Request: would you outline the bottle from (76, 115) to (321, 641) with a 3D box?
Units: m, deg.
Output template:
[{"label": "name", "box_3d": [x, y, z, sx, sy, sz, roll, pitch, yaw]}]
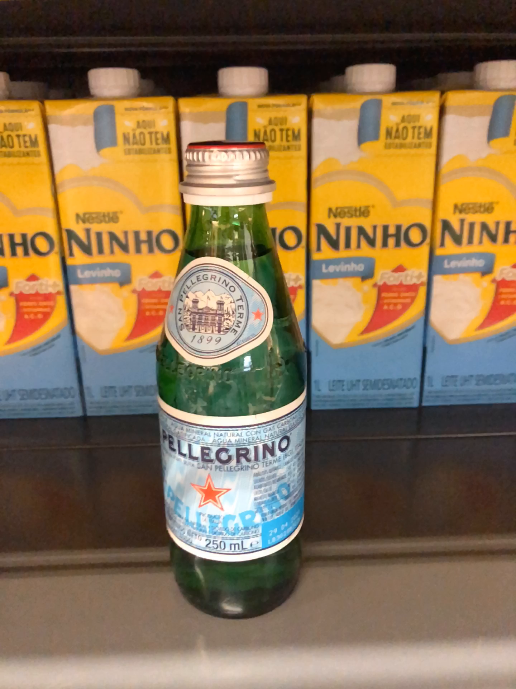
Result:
[{"label": "bottle", "box_3d": [-0.012, 0.012, 0.214, 0.060, 0.179, 0.060, -1, 22, 0]}]
